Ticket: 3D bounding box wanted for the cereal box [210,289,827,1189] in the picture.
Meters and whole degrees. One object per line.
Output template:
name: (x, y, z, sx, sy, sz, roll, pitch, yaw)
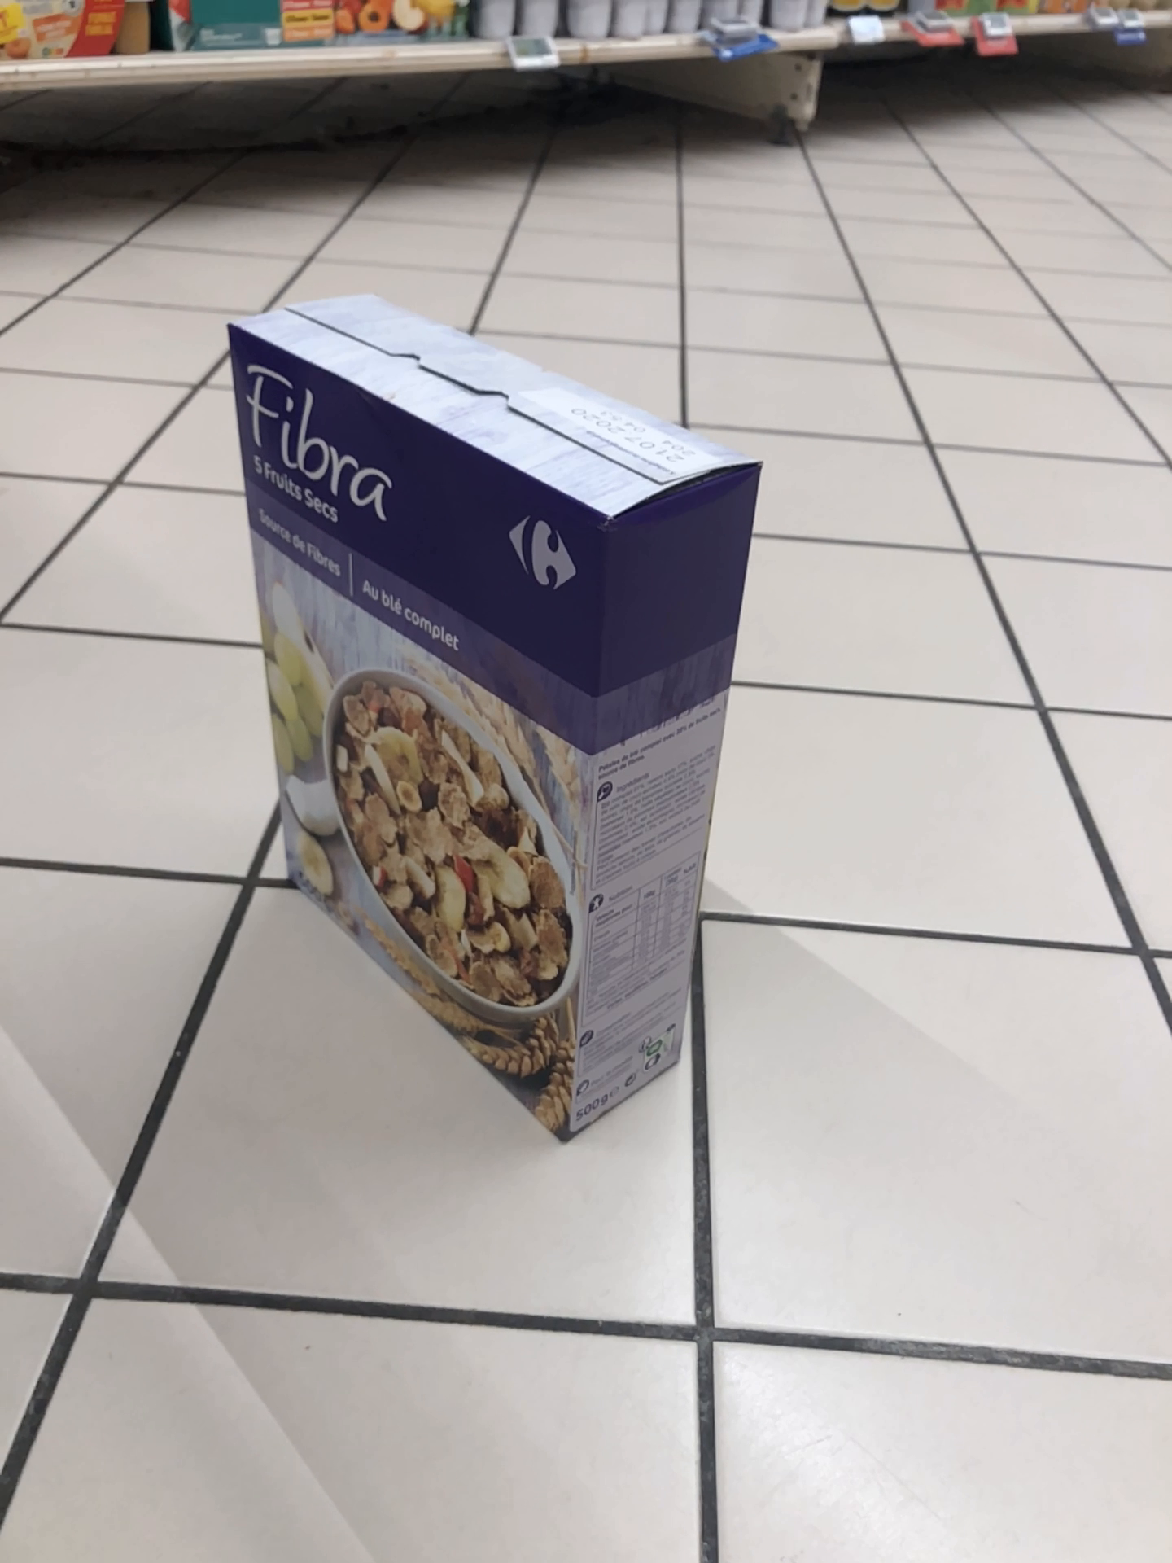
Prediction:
cereal box: (-0.038, -0.019, 0.485, 0.080, 0.258, 0.210, -25, 45, -35)
